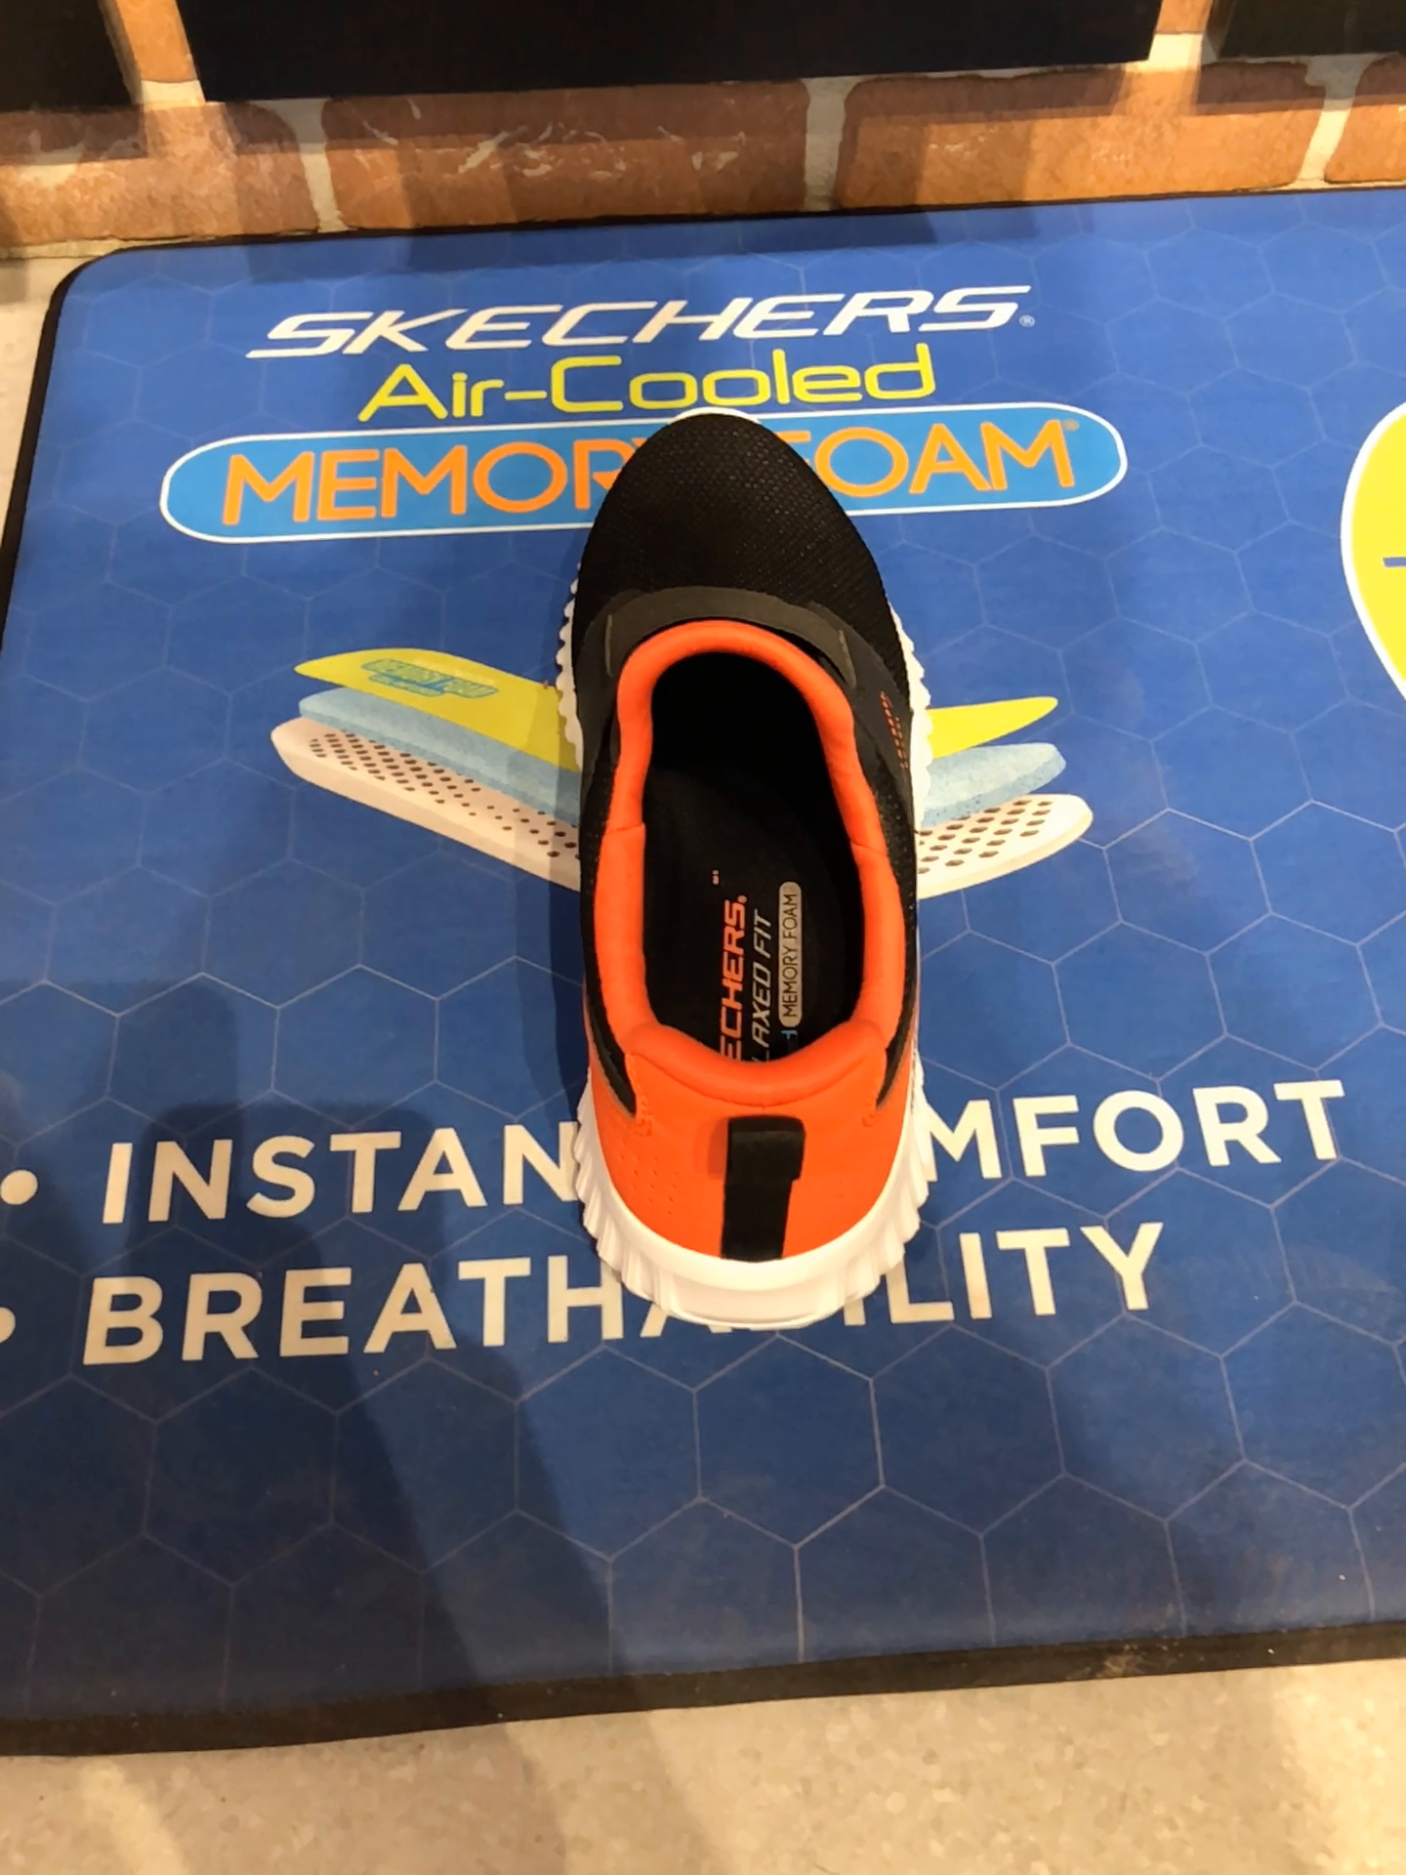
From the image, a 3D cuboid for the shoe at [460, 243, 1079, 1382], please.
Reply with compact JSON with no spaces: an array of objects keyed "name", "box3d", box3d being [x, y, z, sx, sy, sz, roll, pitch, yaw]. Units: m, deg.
[{"name":"shoe","box3d":[0.010,-0.038,0.419,0.116,0.136,0.277,-1,60,-1]}]
